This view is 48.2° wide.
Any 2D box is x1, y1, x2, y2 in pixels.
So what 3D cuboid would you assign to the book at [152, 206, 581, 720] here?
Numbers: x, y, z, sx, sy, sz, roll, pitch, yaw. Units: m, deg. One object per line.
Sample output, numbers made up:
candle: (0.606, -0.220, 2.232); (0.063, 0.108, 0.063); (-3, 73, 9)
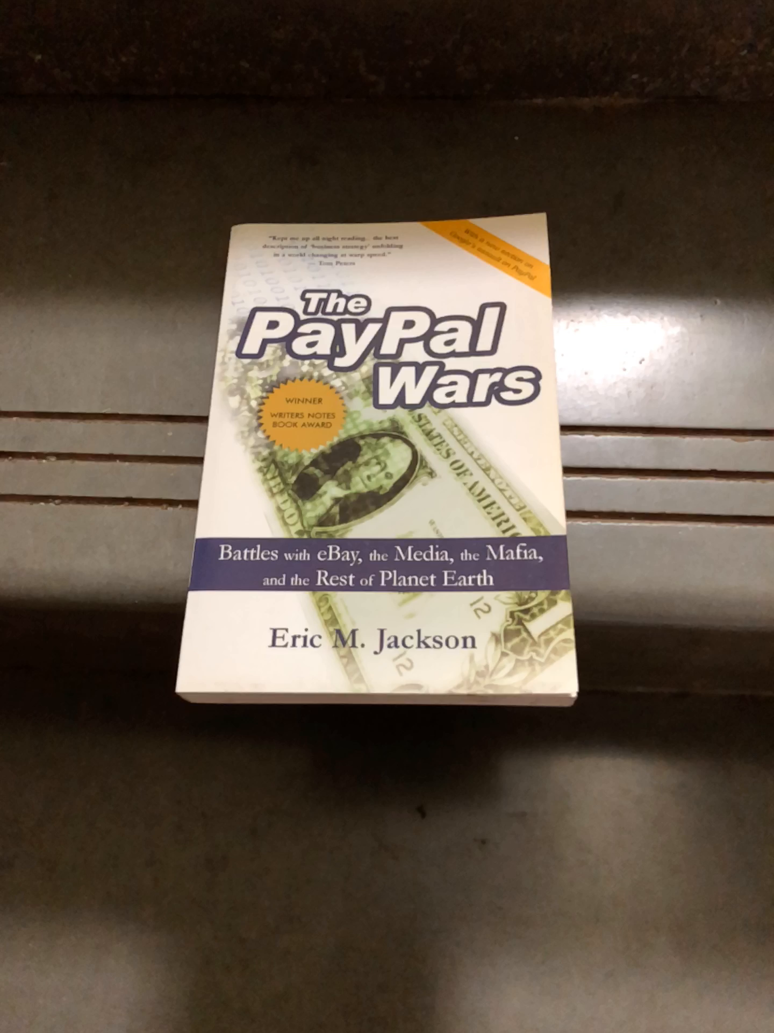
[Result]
book: (-0.006, -0.030, 0.359); (0.150, 0.030, 0.220); (0, 67, 3)
